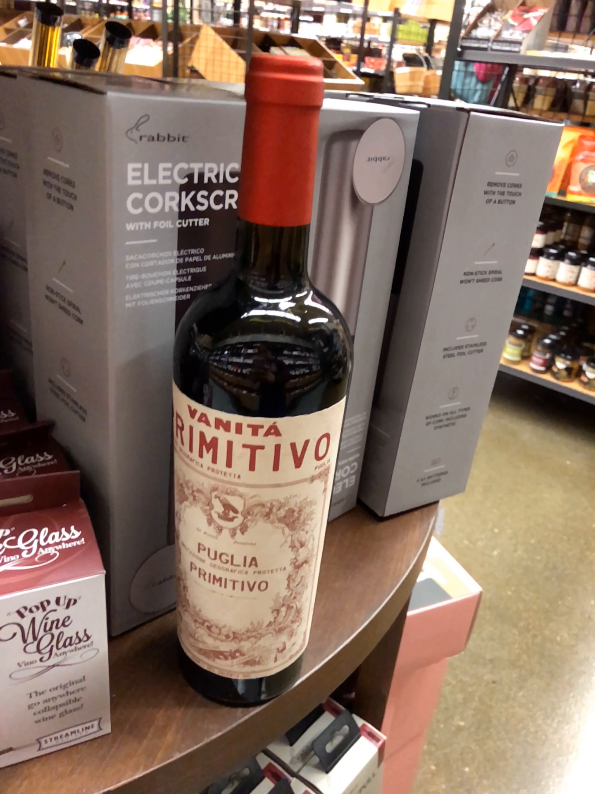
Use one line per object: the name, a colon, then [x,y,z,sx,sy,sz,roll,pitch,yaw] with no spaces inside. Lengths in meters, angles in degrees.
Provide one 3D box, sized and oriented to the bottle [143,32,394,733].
bottle: [-0.018,0.011,0.296,0.072,0.299,0.072,4,27,-2]
